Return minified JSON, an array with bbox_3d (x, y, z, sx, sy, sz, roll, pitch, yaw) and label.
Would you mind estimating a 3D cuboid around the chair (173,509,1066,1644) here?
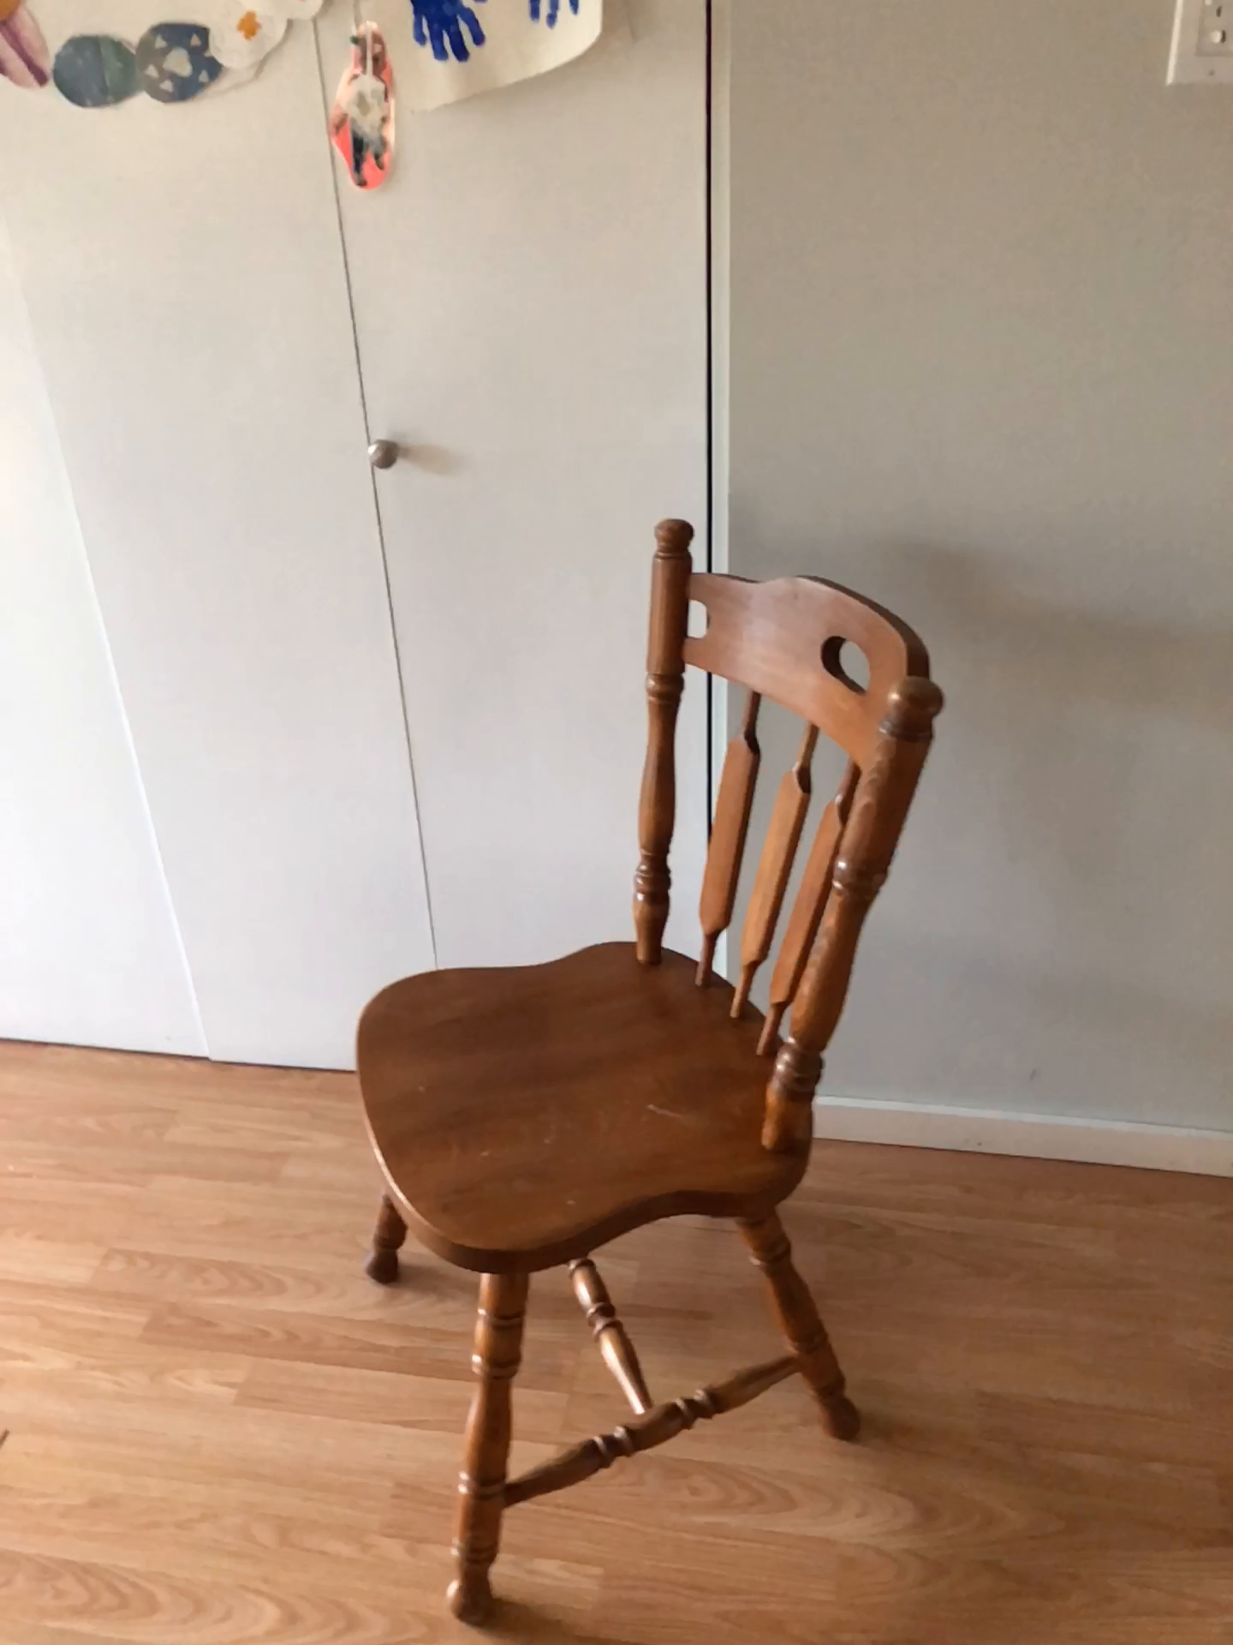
[{"bbox_3d":[-0.032,0.208,1.332,0.590,0.817,0.562,-12,31,-16],"label":"chair"}]
